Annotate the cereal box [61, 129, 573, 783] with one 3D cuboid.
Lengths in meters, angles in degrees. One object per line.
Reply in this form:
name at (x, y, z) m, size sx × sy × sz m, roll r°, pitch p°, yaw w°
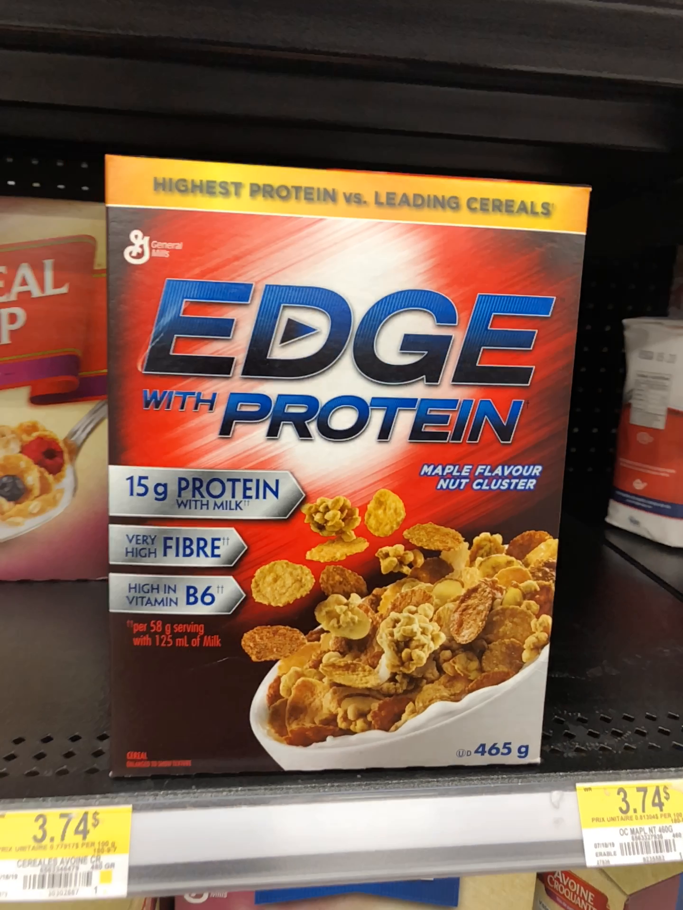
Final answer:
cereal box at (-0.015, 0.007, 0.347) m, size 0.200 × 0.269 × 0.060 m, roll 1°, pitch 10°, yaw -6°
